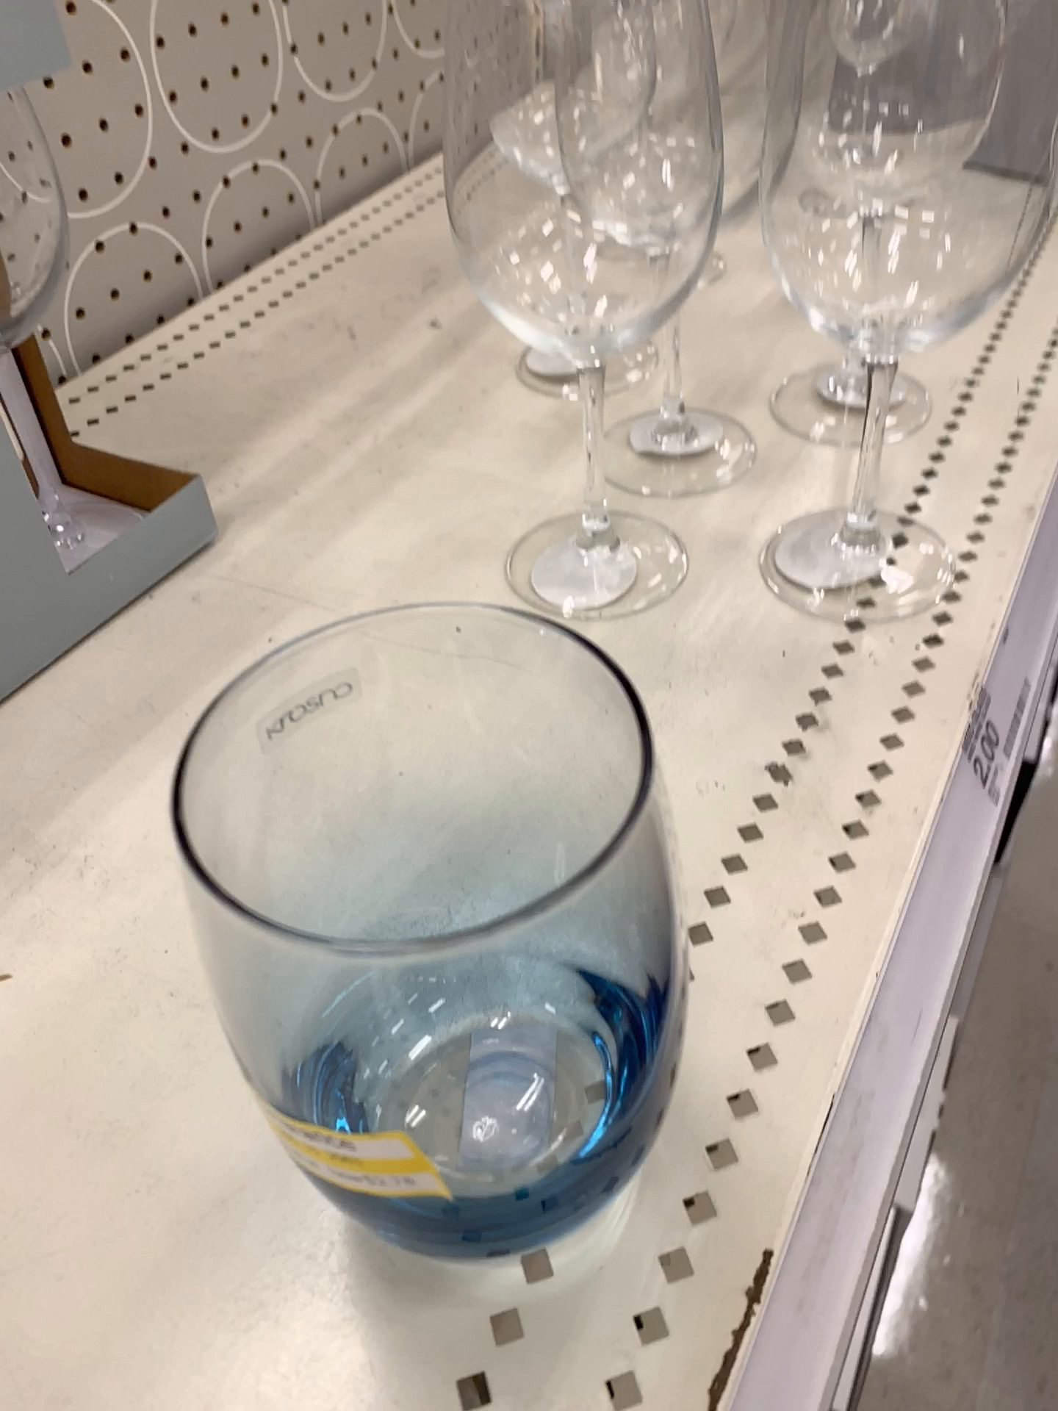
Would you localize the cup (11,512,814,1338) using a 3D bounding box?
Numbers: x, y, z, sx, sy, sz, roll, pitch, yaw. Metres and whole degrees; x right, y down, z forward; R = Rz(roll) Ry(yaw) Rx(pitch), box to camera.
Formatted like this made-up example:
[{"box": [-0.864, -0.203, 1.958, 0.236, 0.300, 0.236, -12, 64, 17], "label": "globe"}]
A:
[{"box": [-0.010, 0.042, 0.196, 0.090, 0.119, 0.090, -2, 43, 2], "label": "cup"}]
